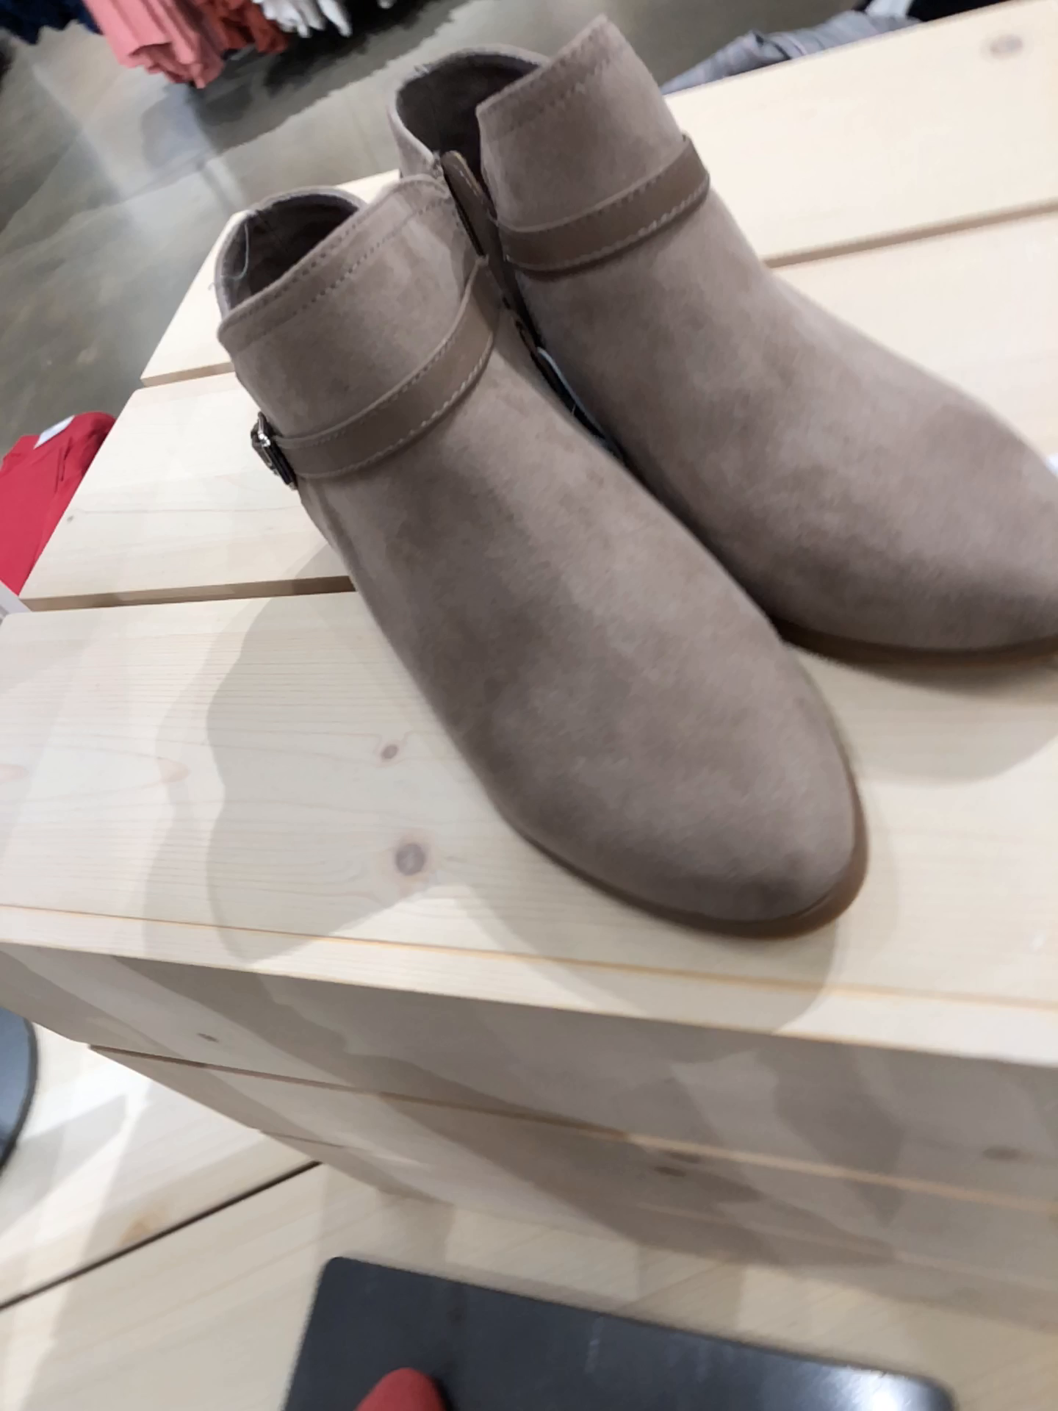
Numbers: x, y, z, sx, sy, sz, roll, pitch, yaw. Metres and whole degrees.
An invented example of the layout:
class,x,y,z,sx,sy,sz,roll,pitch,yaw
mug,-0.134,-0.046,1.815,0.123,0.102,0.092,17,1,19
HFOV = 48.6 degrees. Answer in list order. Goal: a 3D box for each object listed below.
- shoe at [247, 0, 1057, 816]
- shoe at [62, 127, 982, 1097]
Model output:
class,x,y,z,sx,sy,sz,roll,pitch,yaw
shoe,0.038,-0.098,0.315,0.090,0.110,0.251,-42,48,-6
shoe,-0.018,-0.043,0.300,0.090,0.110,0.251,-39,48,-3
